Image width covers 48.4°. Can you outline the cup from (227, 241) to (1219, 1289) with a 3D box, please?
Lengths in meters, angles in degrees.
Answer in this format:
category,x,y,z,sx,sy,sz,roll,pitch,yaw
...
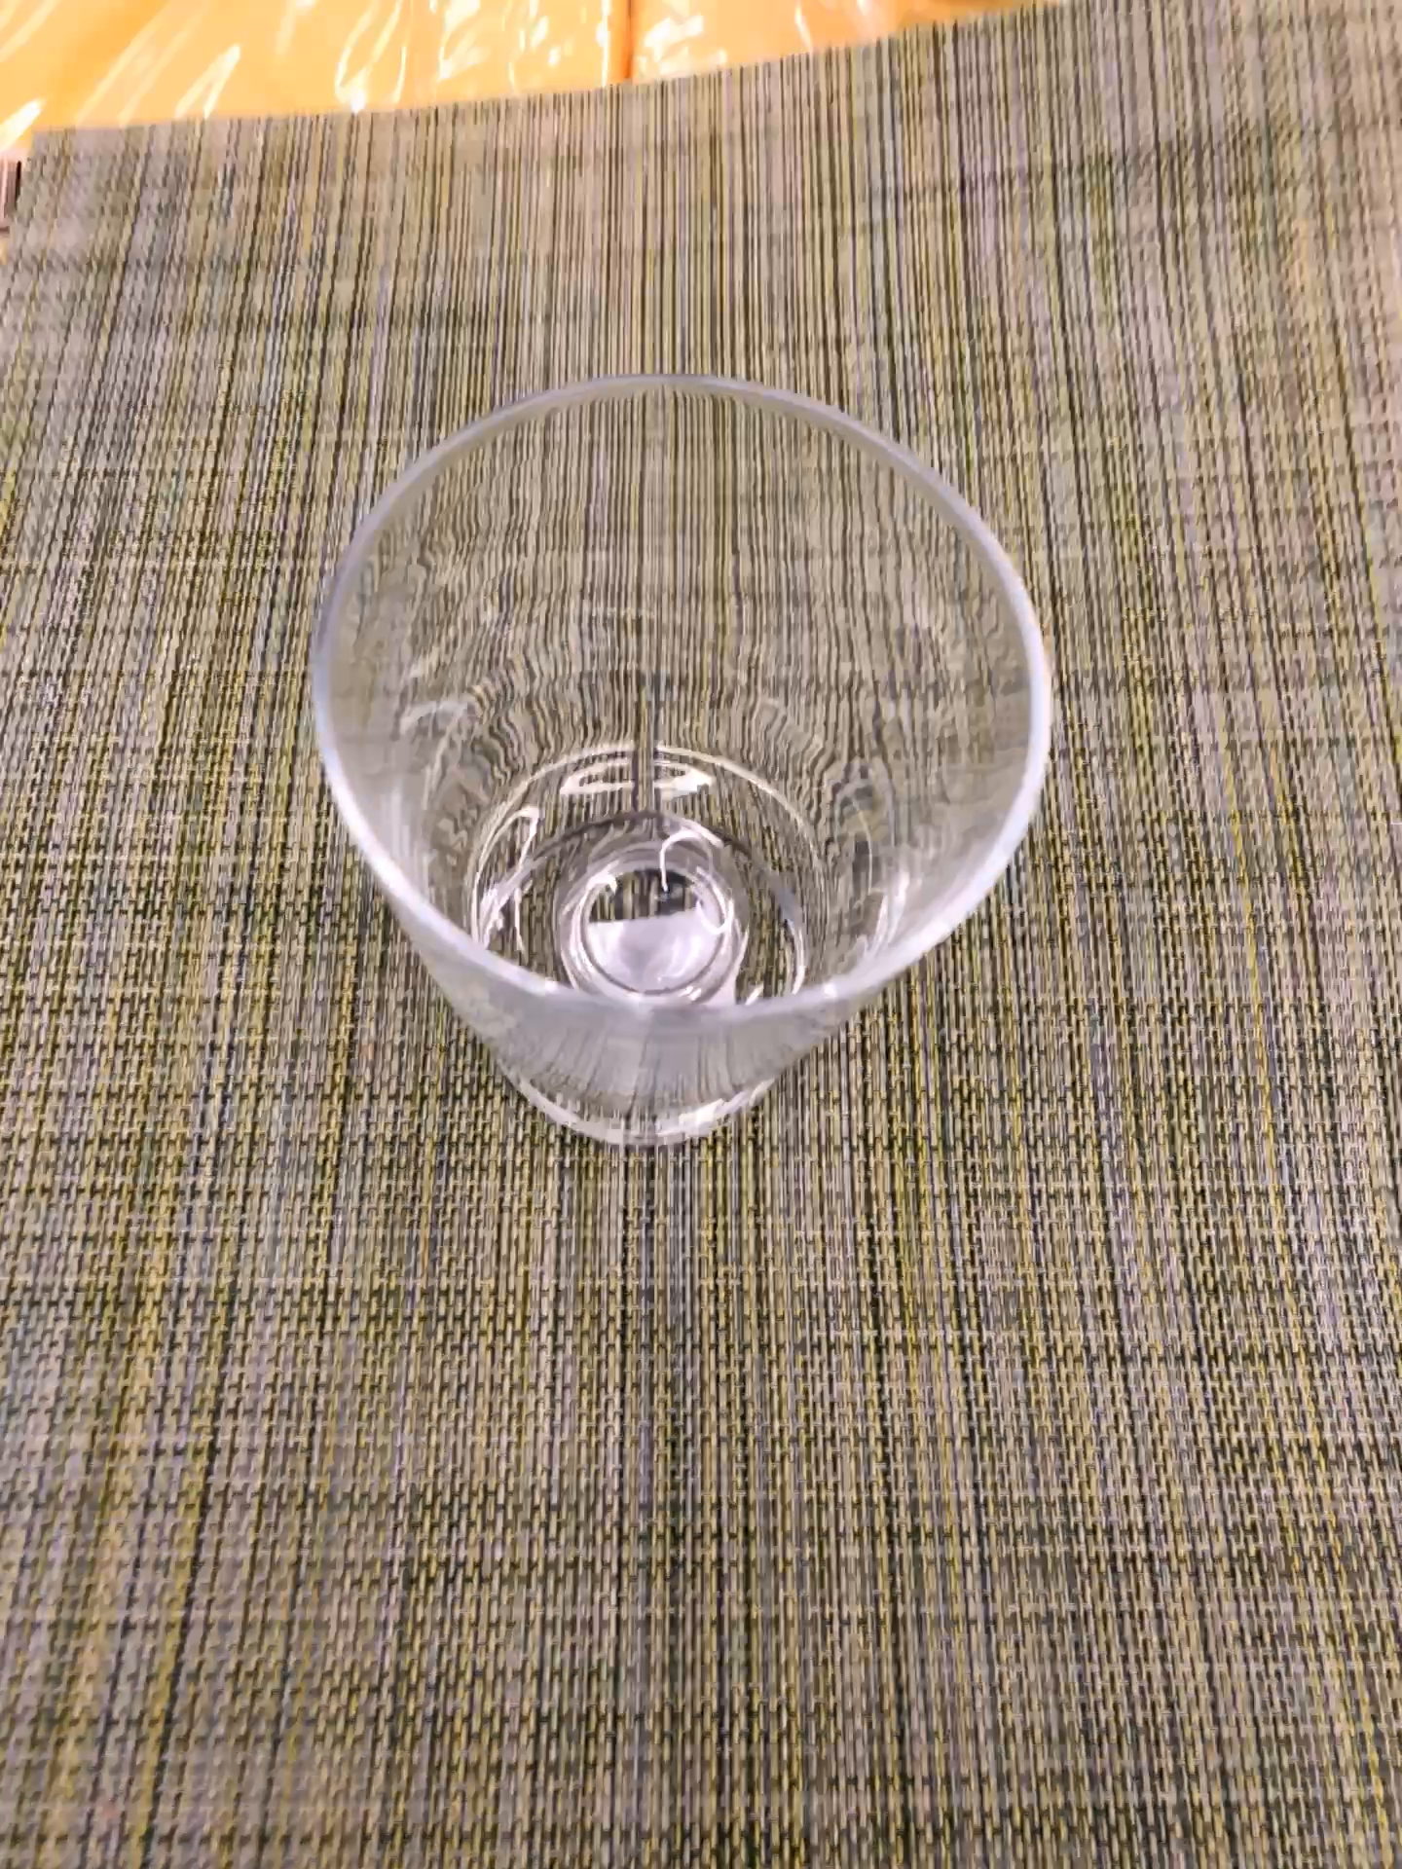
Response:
category,x,y,z,sx,sy,sz,roll,pitch,yaw
cup,0.002,-0.013,0.227,0.090,0.110,0.090,2,70,-5
